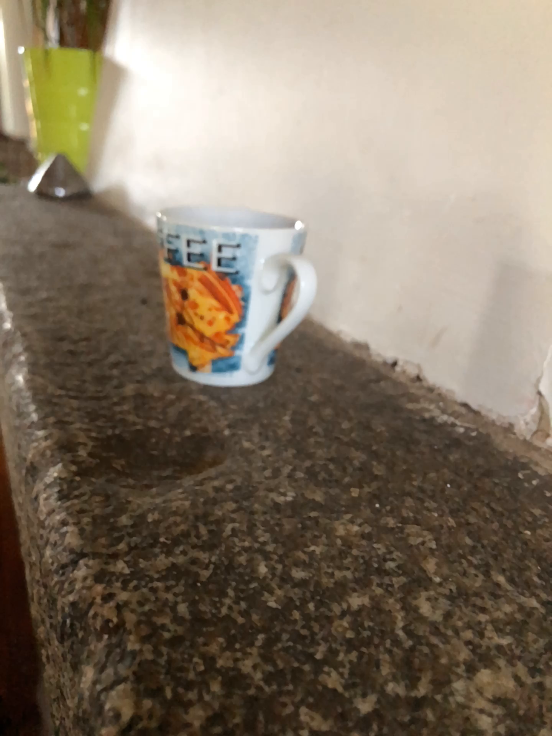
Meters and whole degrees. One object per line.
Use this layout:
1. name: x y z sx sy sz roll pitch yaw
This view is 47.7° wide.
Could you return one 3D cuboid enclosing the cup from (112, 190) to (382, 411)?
1. cup: -0.014 -0.031 0.234 0.060 0.060 0.080 -12 25 -42
